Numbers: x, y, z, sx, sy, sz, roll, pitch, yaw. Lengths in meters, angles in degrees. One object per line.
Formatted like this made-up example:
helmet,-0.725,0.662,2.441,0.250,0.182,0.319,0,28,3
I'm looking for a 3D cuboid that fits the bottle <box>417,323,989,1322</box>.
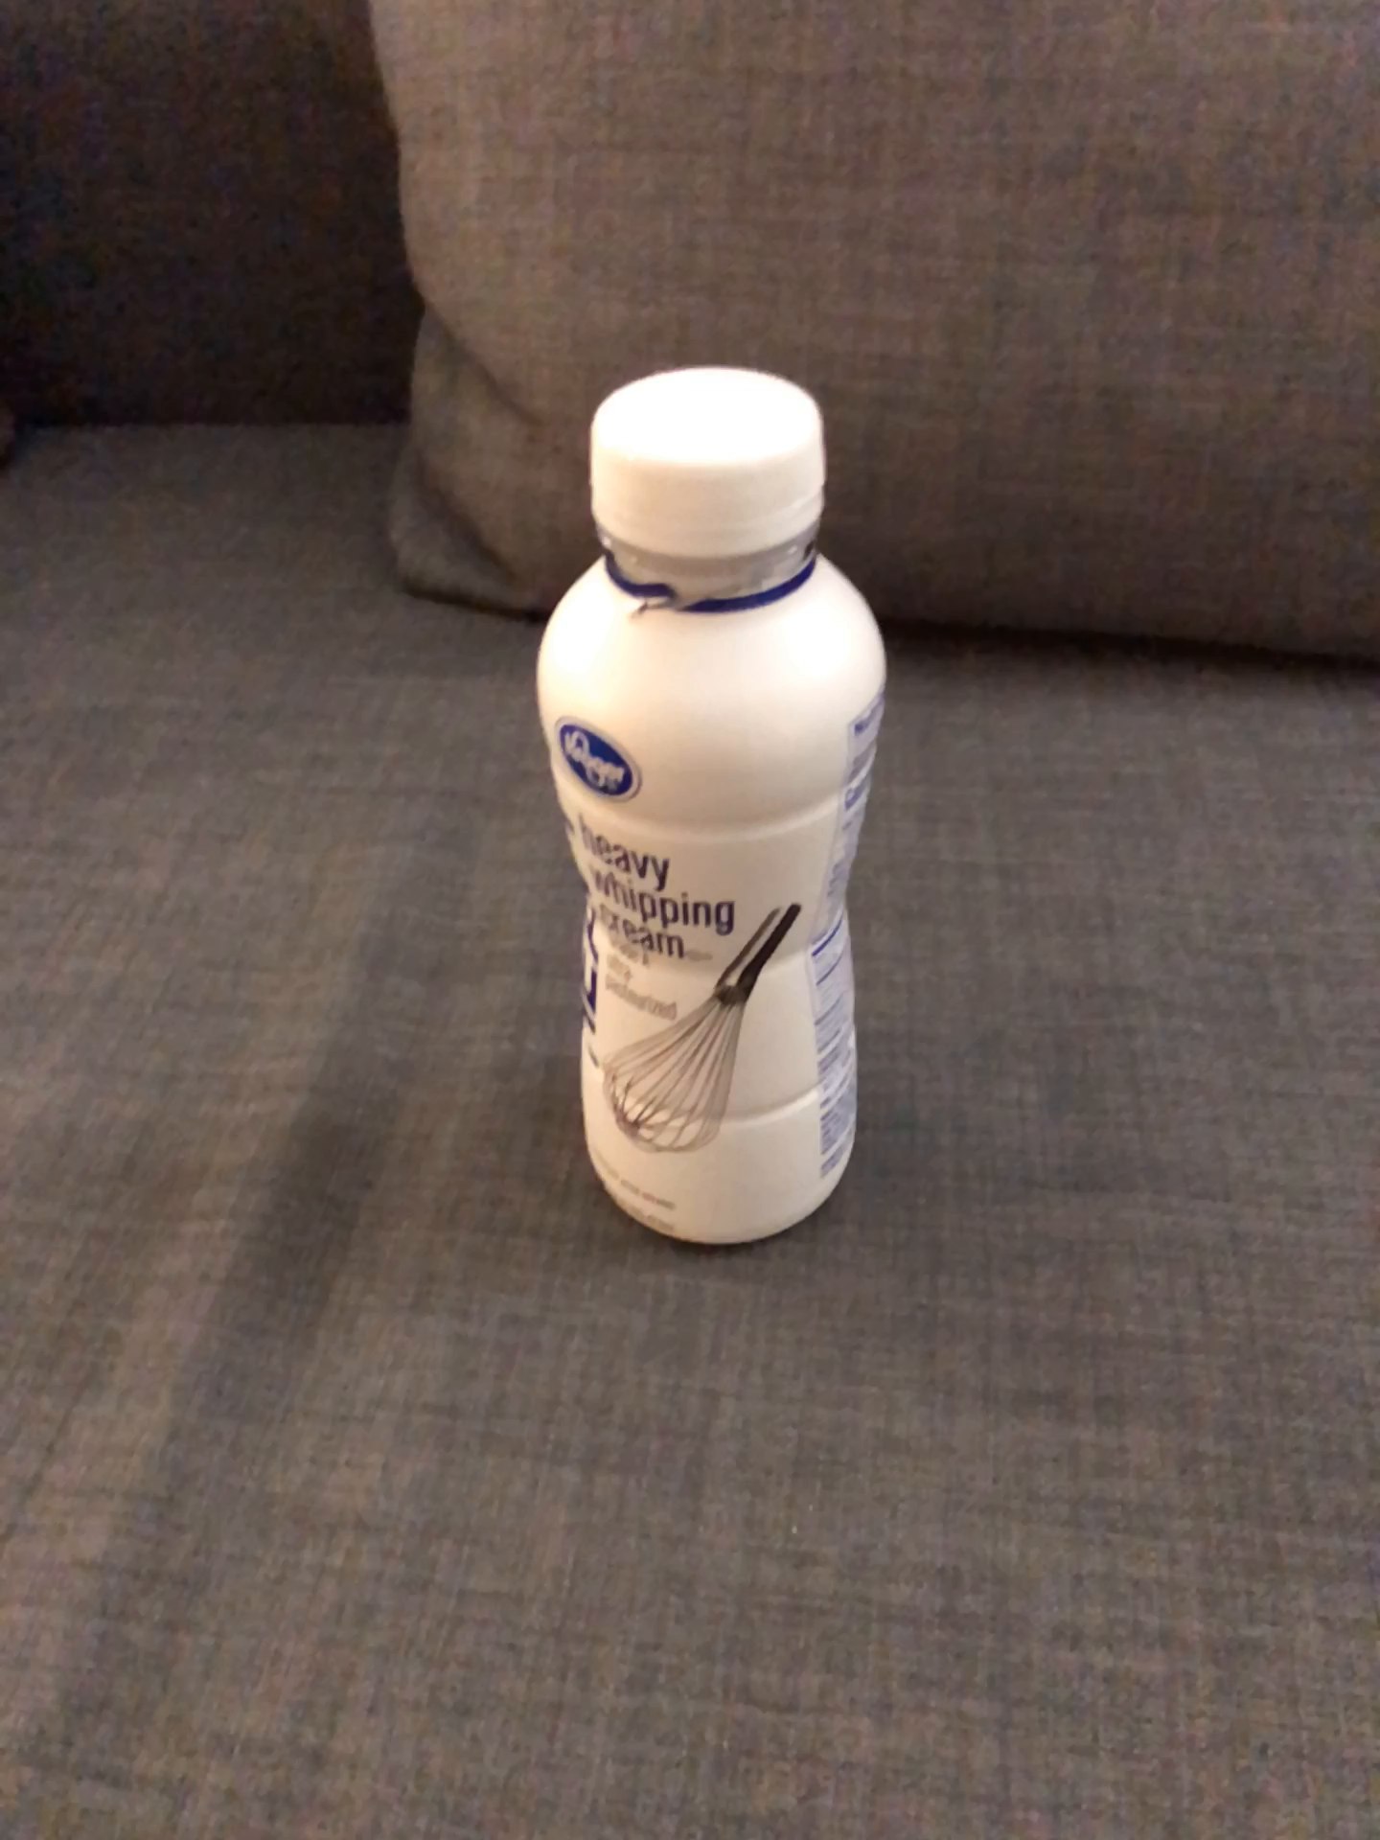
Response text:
bottle,0.006,-0.013,0.324,0.070,0.189,0.070,-2,40,2
